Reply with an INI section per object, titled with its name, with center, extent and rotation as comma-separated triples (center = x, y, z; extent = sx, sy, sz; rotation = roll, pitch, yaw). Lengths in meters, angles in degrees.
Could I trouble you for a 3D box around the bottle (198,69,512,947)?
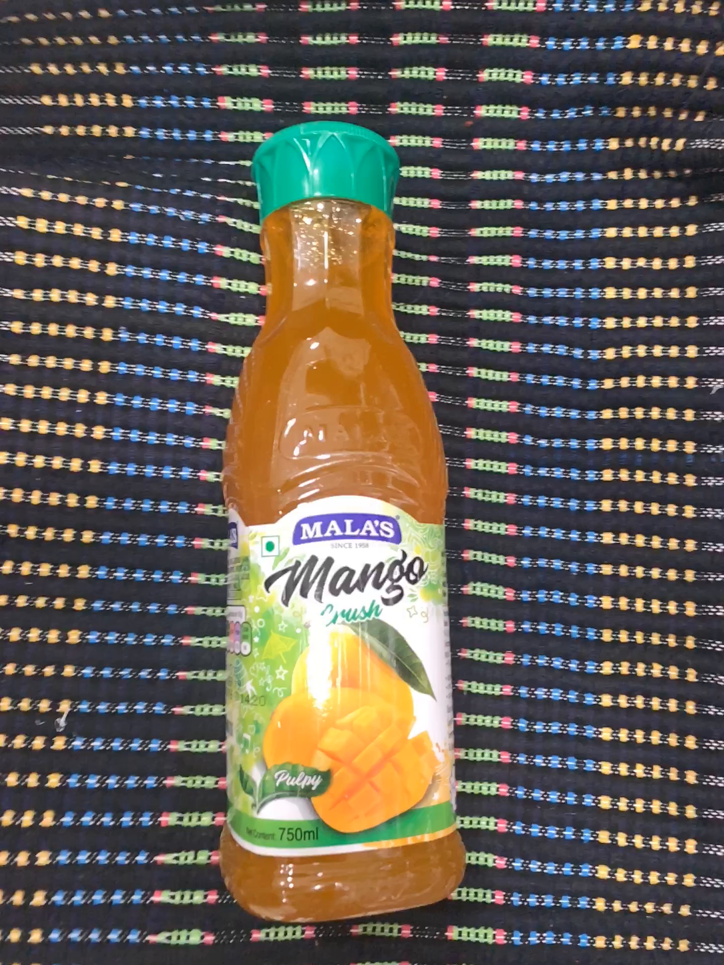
[bottle]
center = -0.013, 0.003, 0.254
extent = 0.080, 0.090, 0.240
rotation = 1, 79, -12
